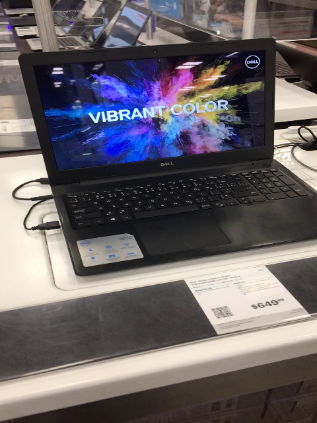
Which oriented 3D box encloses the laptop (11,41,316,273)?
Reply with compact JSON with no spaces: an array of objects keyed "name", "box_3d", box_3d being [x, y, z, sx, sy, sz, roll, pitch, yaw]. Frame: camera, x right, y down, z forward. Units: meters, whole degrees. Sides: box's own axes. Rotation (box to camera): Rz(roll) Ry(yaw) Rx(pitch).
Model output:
[{"name":"laptop","box_3d":[0.038,-0.106,0.625,0.420,0.222,0.296,-10,37,-13]}]
